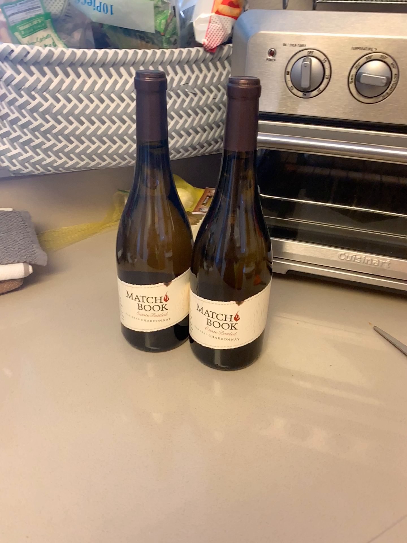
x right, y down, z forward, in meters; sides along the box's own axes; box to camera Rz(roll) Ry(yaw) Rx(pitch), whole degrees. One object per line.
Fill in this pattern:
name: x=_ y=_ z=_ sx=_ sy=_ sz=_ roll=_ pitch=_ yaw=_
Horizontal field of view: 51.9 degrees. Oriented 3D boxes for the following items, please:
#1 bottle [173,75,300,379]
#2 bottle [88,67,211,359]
bottle: x=0.028 y=-0.036 z=0.416 sx=0.090 sy=0.278 sz=0.090 roll=1 pitch=30 yaw=-1
bottle: x=-0.047 y=-0.052 z=0.445 sx=0.090 sy=0.288 sz=0.091 roll=1 pitch=30 yaw=-1
